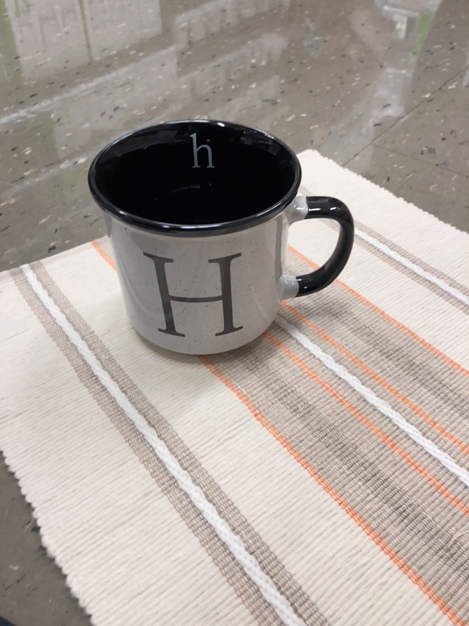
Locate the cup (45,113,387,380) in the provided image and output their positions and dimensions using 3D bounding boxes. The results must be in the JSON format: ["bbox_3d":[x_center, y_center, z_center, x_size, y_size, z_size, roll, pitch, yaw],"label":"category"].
[{"bbox_3d":[-0.005,-0.037,0.285,0.140,0.100,0.100,2,44,3],"label":"cup"}]
